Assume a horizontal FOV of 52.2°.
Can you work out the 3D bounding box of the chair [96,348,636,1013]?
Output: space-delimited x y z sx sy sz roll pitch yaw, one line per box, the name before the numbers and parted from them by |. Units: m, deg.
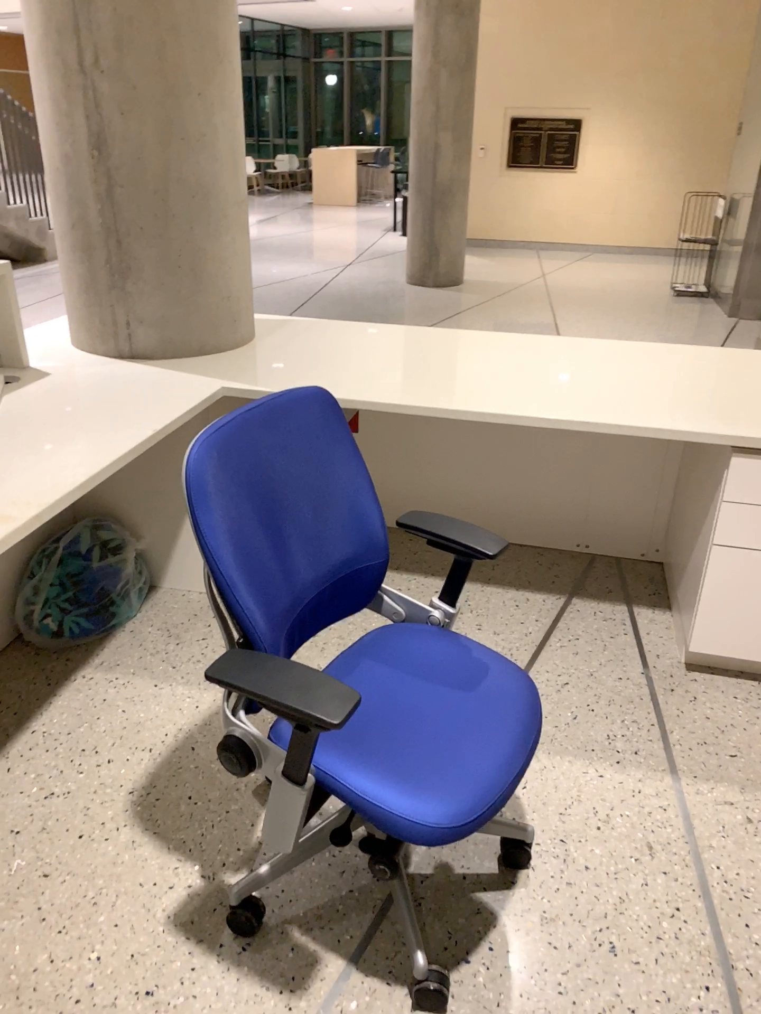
chair | 0.018 0.268 1.448 0.605 0.907 0.701 15 28 26
